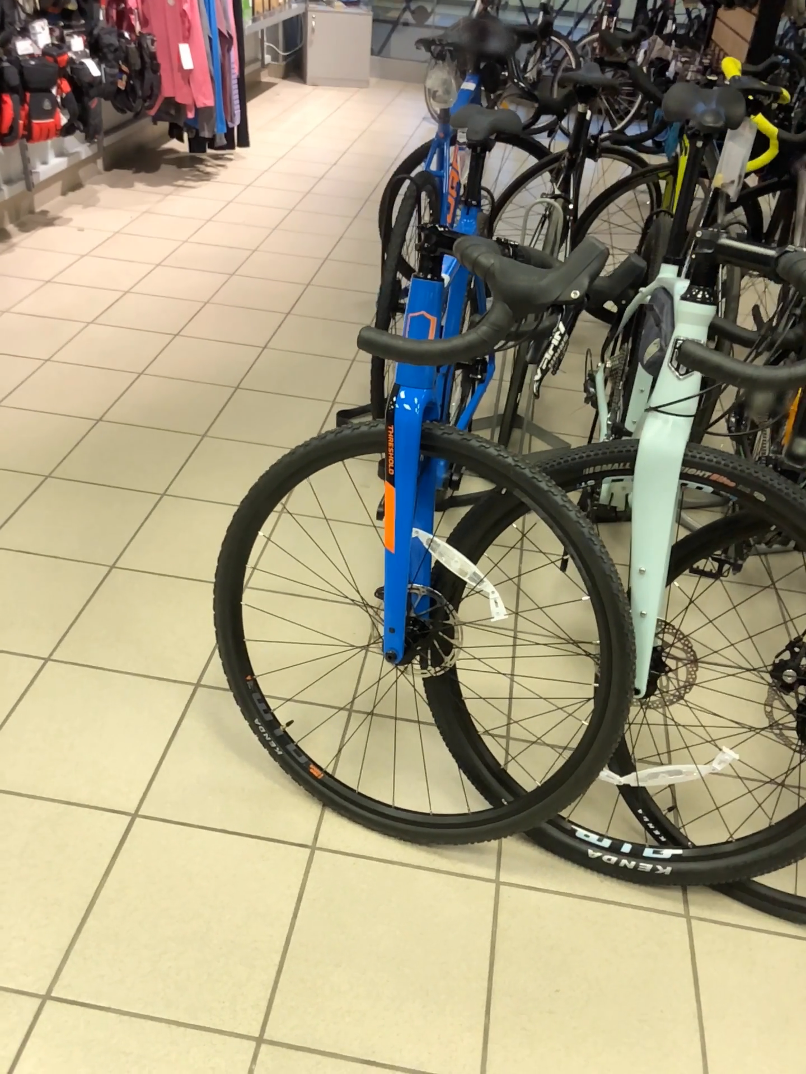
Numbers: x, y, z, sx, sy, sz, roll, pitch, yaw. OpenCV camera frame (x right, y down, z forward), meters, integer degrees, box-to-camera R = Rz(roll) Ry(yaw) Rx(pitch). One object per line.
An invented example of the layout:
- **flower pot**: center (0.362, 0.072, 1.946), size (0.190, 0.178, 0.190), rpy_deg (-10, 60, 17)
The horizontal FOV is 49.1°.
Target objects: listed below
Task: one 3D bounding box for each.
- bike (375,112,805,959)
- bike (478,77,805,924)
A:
- **bike**: center (0.266, -0.166, 1.823), size (0.524, 0.805, 1.478), rpy_deg (1, 41, -5)
- **bike**: center (0.628, -0.236, 1.722), size (0.616, 0.870, 1.429), rpy_deg (2, 37, -5)
